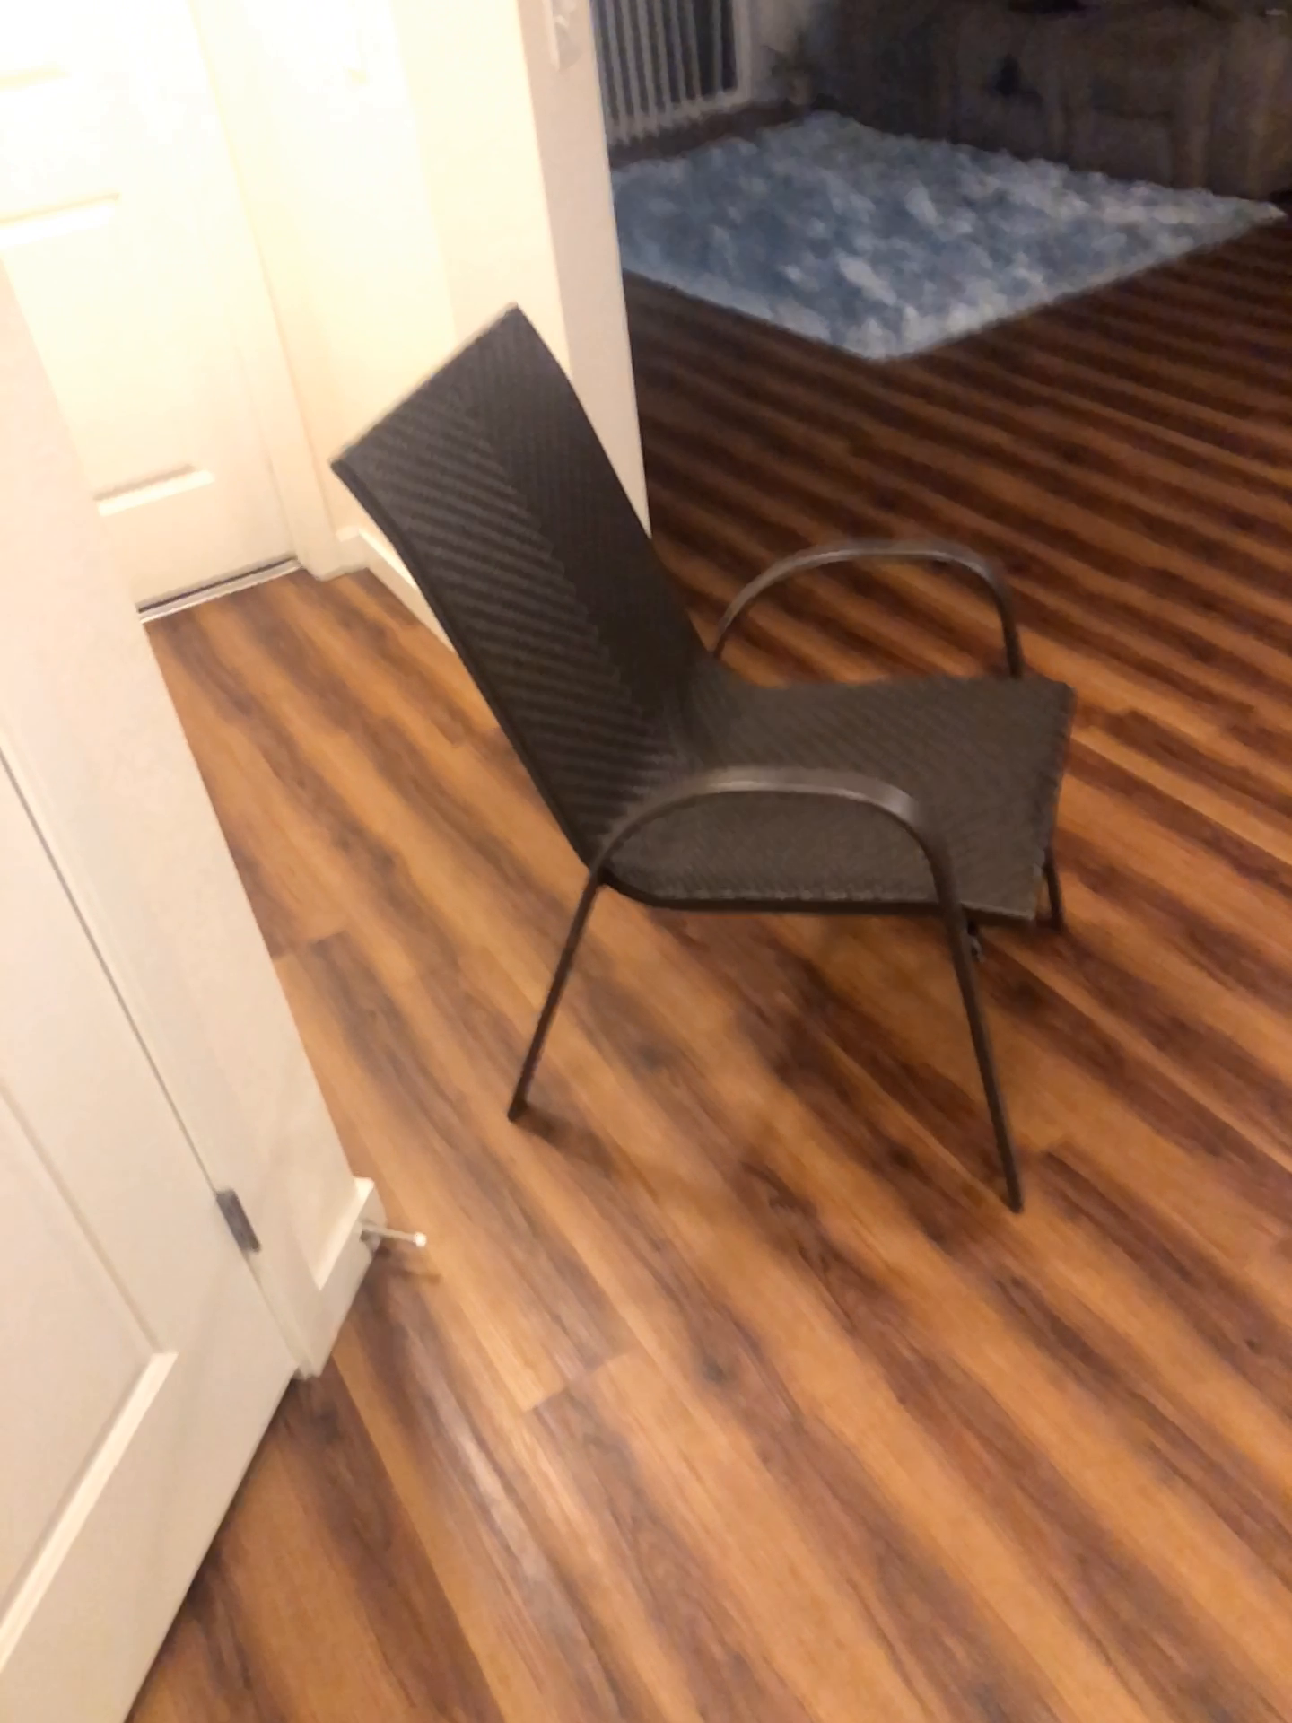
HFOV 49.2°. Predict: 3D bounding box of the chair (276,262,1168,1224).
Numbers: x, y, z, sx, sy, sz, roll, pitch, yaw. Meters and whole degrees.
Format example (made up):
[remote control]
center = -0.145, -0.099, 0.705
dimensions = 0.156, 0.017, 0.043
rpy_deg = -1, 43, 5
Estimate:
[chair]
center = 0.157, -0.154, 1.649
dimensions = 0.747, 0.852, 0.600
rpy_deg = 6, 40, 18
